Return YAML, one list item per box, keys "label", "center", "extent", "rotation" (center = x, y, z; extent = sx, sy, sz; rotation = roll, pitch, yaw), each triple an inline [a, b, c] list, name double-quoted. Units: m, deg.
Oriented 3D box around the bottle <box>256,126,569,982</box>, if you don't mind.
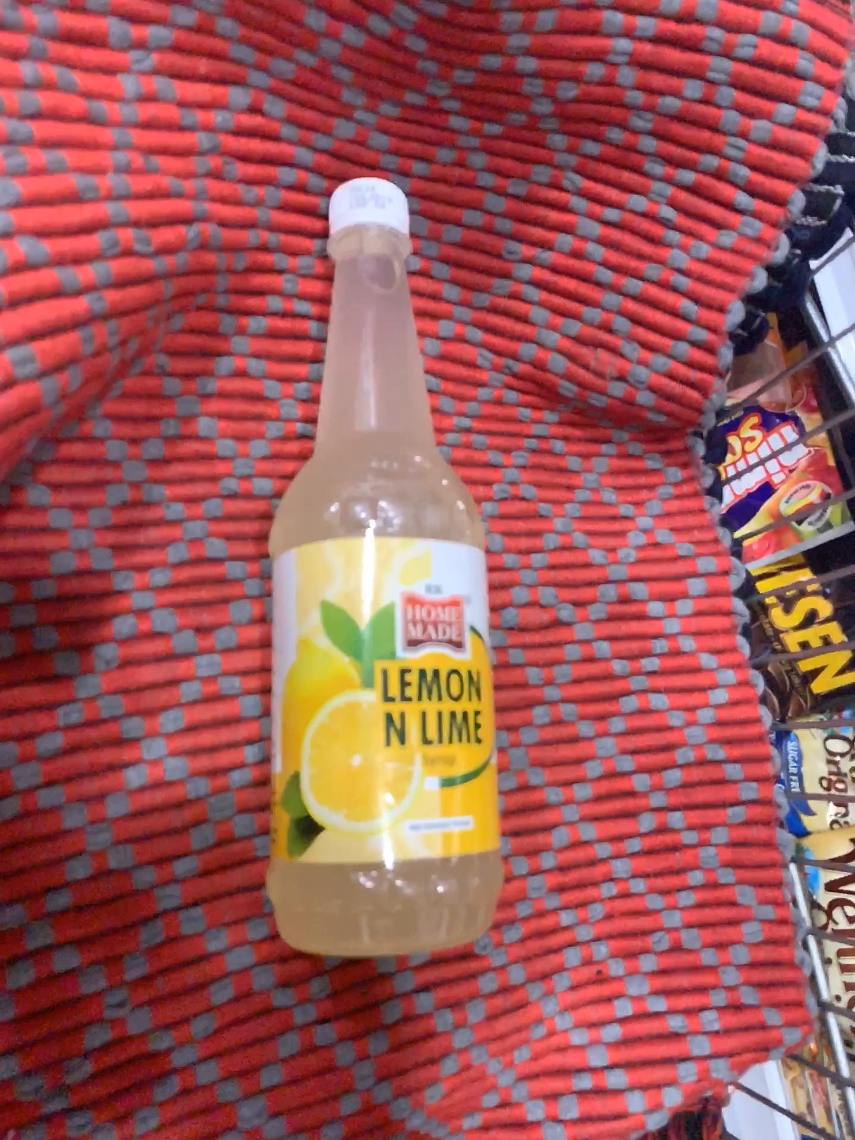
- label: "bottle"
  center: [-0.015, -0.011, 0.295]
  extent: [0.070, 0.070, 0.260]
  rotation: [3, 72, -23]
